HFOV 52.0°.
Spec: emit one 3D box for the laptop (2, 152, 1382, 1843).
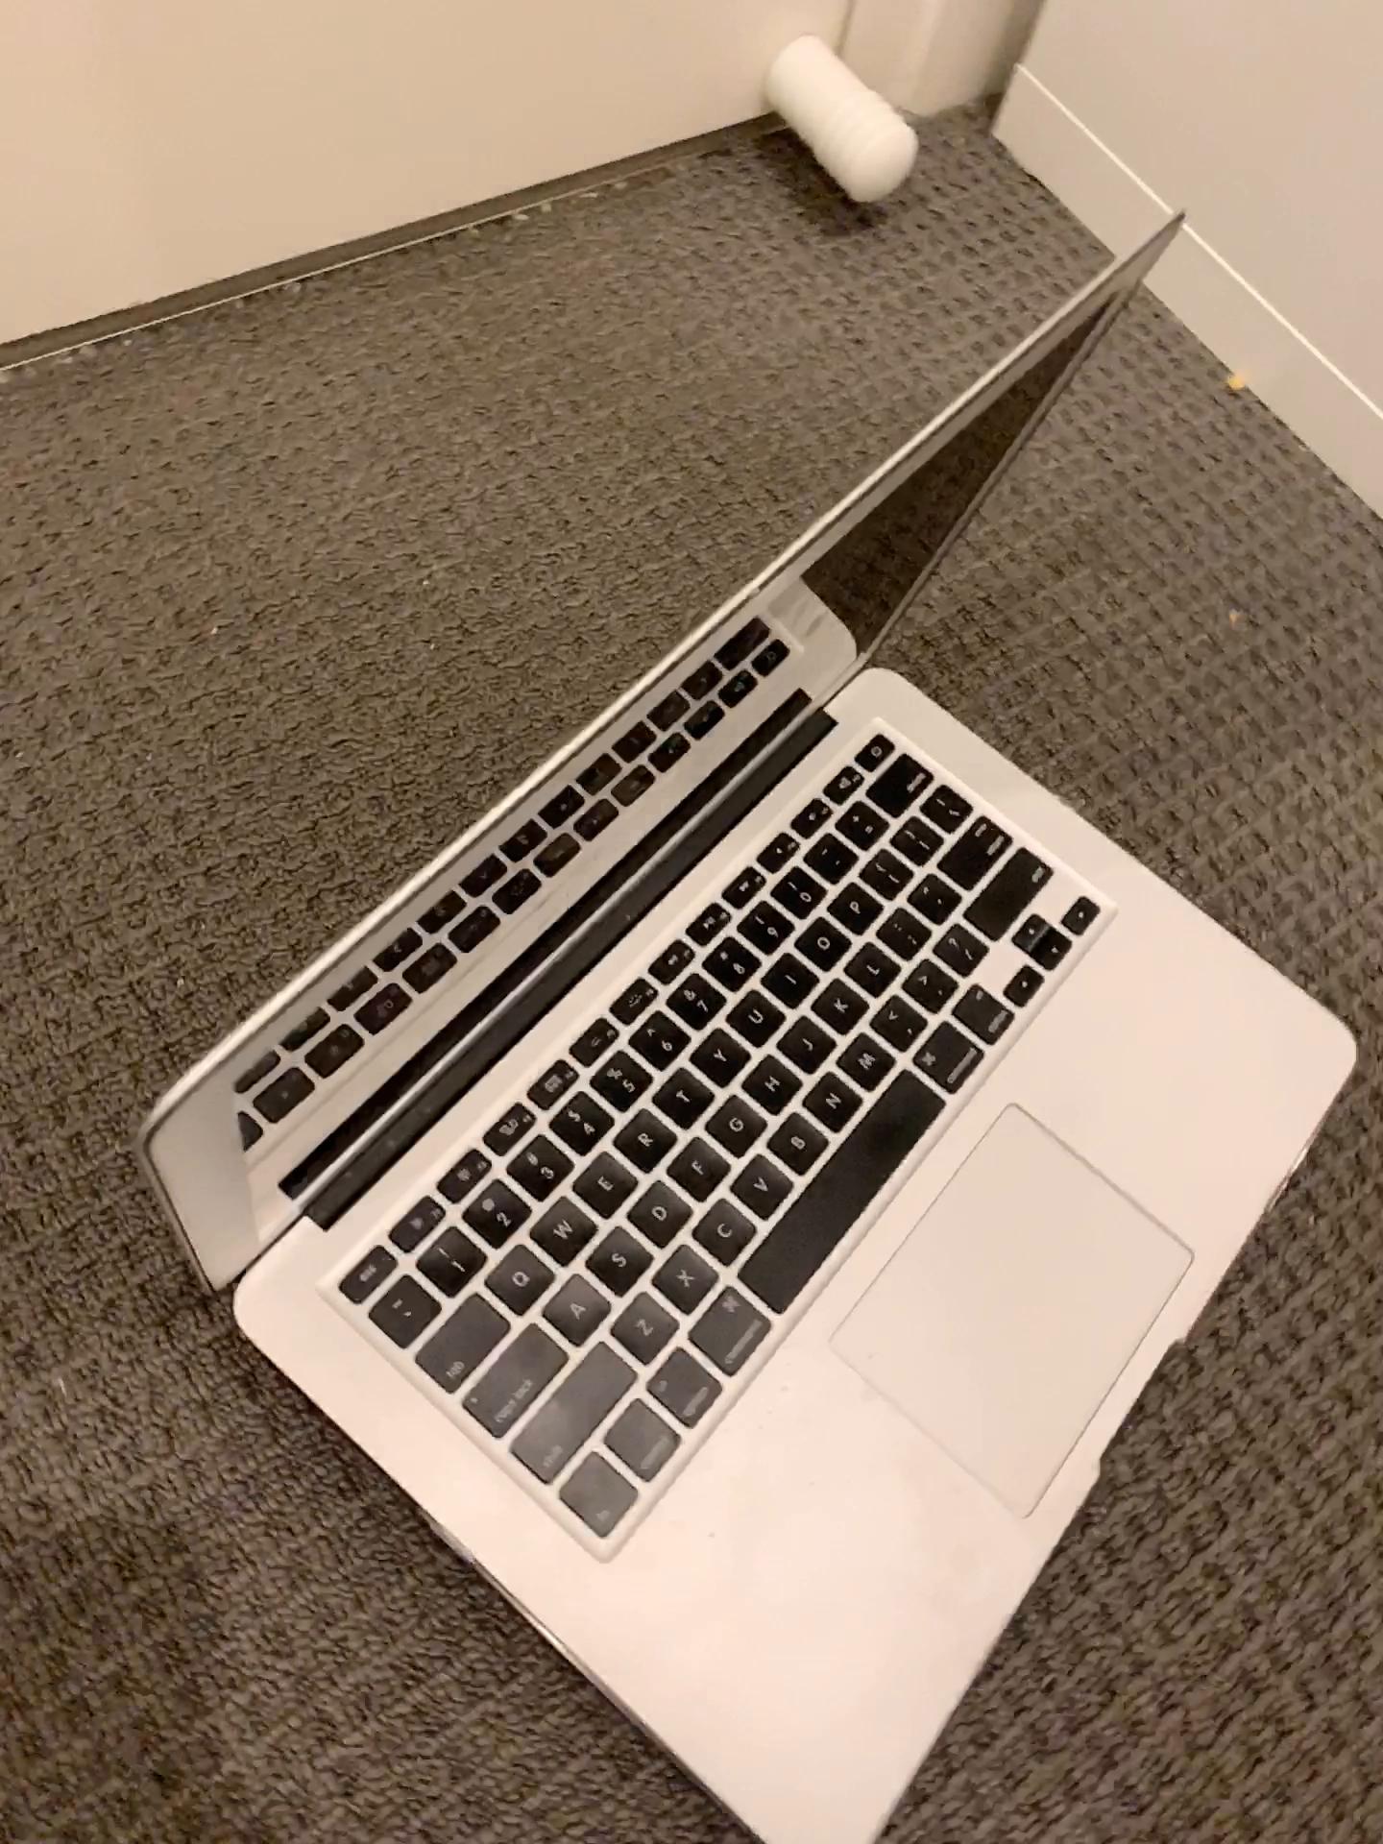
[{"bbox_3d":[0.067,0.031,0.359,0.226,0.215,0.323,40,64,9],"label":"laptop"}]
